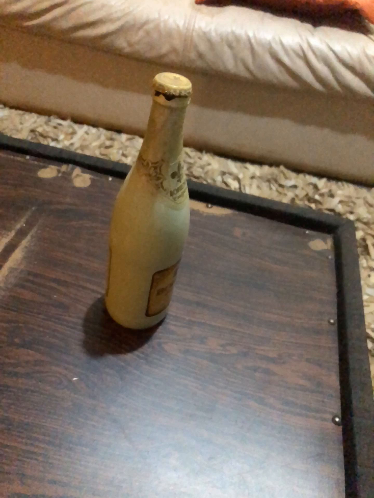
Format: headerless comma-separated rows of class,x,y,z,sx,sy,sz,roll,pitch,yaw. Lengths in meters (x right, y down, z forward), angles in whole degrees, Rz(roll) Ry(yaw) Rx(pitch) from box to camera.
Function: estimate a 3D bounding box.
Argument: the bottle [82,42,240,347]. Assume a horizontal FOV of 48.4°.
bottle,-0.028,-0.027,0.359,0.080,0.248,0.081,5,45,-5
